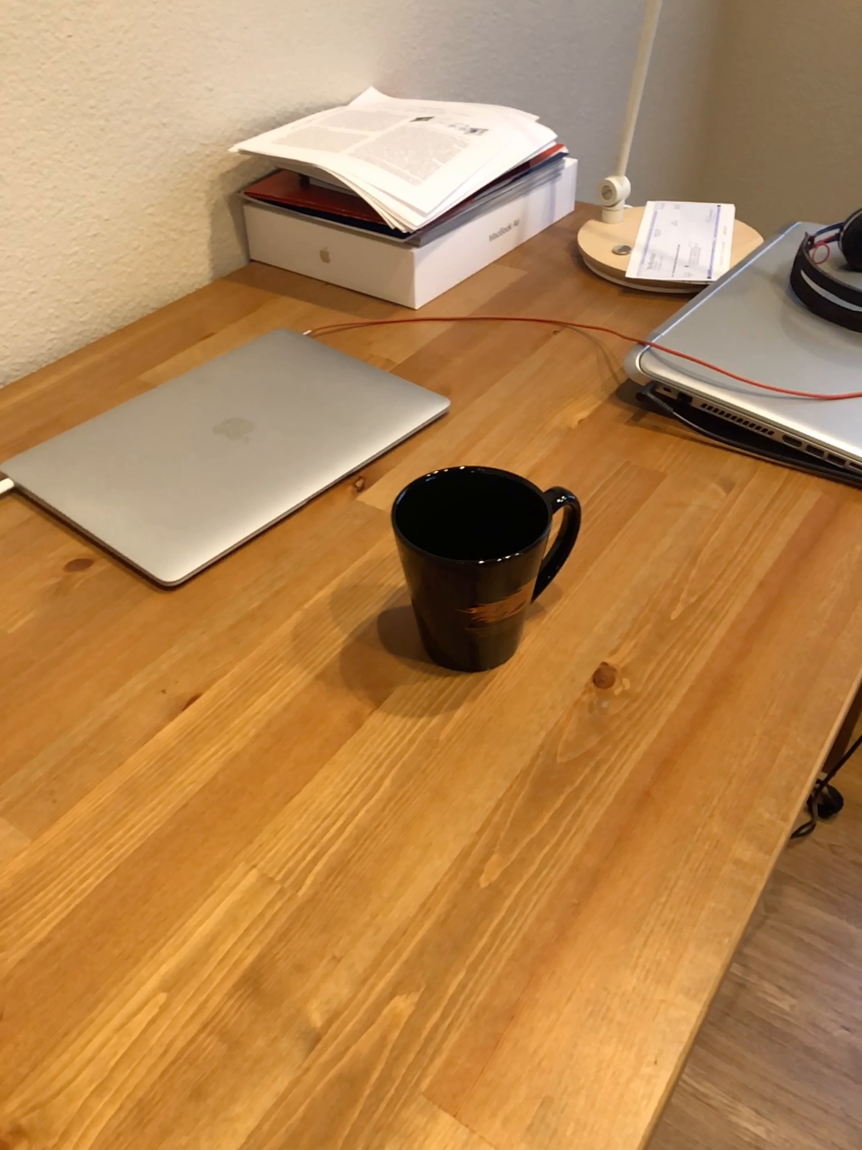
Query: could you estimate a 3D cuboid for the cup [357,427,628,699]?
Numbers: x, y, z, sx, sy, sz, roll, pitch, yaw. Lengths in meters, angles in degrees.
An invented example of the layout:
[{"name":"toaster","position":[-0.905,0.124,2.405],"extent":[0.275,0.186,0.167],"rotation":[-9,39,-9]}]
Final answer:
[{"name":"cup","position":[0.034,-0.010,0.557],"extent":[0.120,0.090,0.090],"rotation":[-21,44,-21]}]
